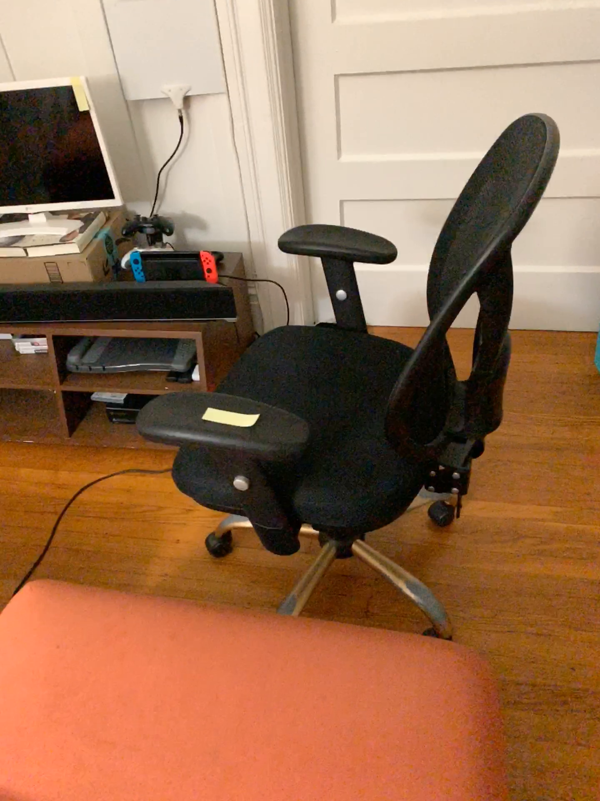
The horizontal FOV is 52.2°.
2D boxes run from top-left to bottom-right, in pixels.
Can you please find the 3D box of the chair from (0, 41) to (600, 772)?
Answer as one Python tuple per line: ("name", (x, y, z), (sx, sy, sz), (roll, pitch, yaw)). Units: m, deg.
("chair", (0.095, 0.011, 1.080), (0.661, 0.974, 0.642), (15, 43, 17))
